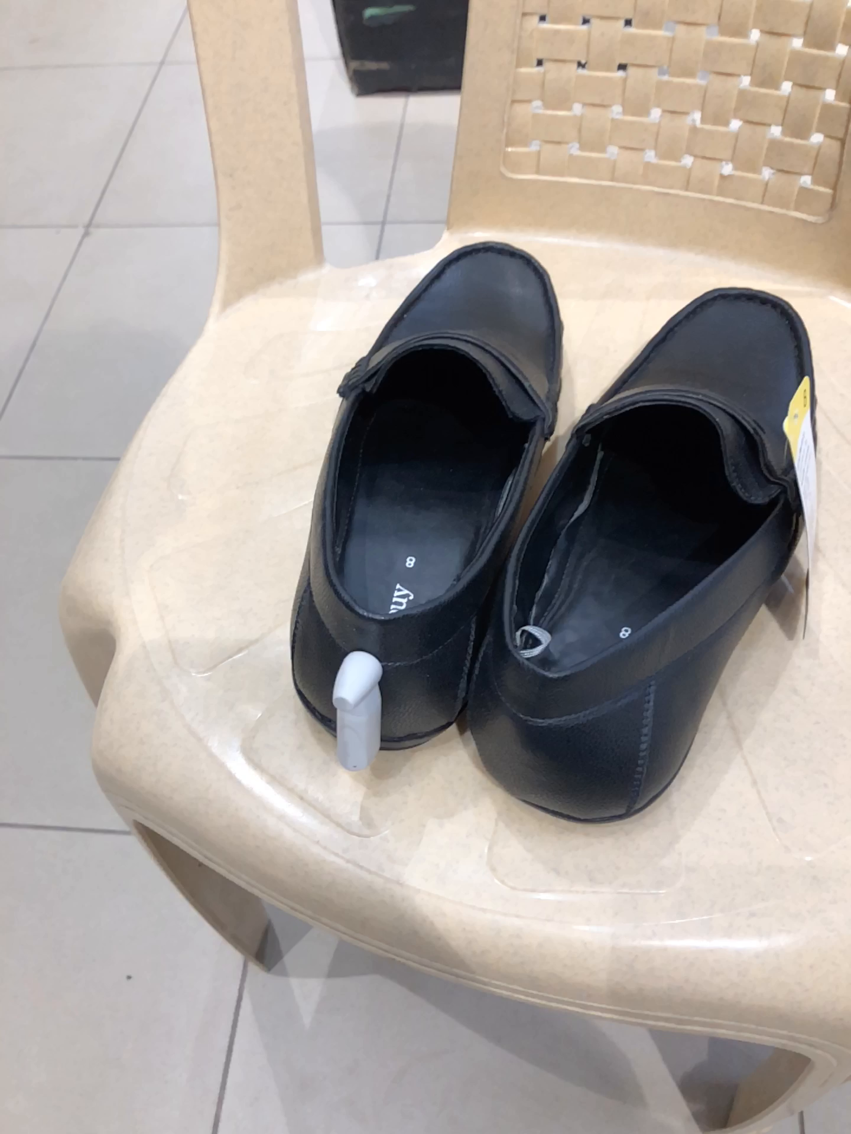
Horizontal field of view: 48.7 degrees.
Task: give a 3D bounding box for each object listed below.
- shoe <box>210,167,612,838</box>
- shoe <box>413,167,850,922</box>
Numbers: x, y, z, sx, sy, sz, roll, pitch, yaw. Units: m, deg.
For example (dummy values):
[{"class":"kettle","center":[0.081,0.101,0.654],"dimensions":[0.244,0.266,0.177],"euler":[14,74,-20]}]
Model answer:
[{"class":"shoe","center":[0.012,-0.043,0.395],"dimensions":[0.100,0.088,0.276],"euler":[7,58,10]},{"class":"shoe","center":[0.102,-0.027,0.370],"dimensions":[0.100,0.088,0.283],"euler":[18,60,16]}]
